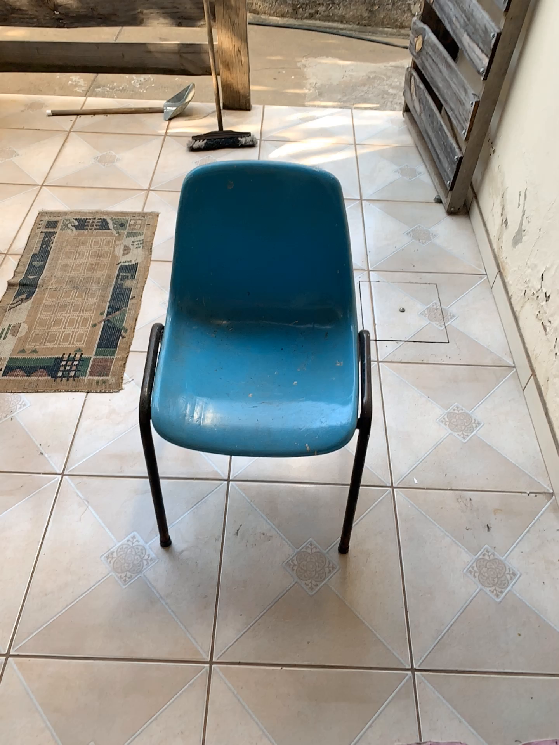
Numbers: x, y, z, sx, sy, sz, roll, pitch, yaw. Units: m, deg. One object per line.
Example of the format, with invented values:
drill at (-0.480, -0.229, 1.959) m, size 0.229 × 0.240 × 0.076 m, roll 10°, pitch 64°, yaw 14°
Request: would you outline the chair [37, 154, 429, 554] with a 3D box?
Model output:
chair at (-0.061, -0.005, 1.233) m, size 0.550 × 0.687 × 0.532 m, roll 2°, pitch 51°, yaw 1°
